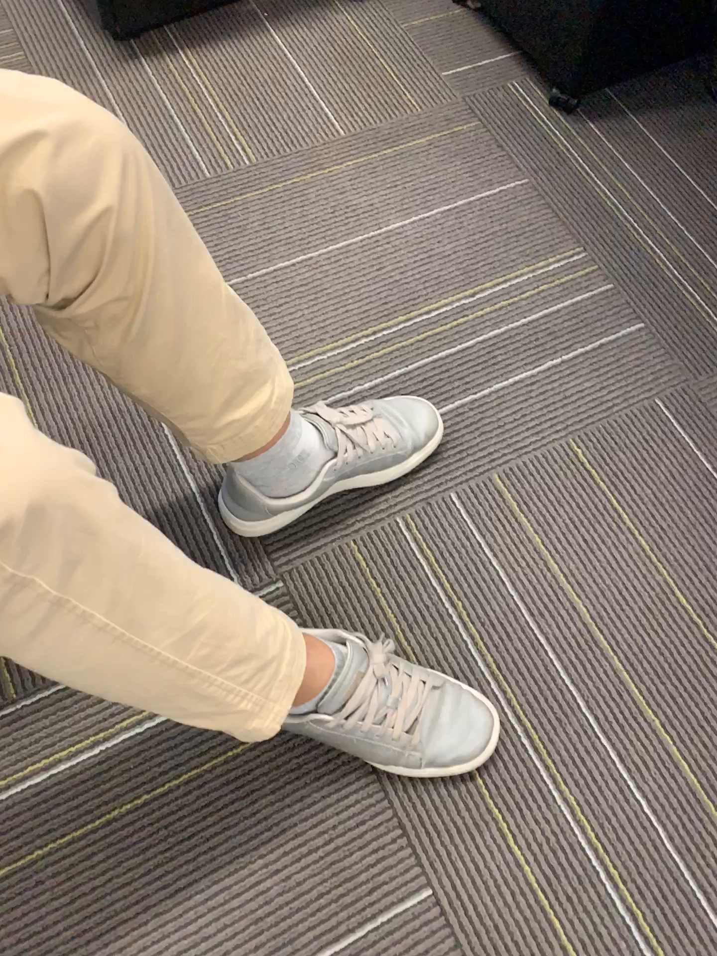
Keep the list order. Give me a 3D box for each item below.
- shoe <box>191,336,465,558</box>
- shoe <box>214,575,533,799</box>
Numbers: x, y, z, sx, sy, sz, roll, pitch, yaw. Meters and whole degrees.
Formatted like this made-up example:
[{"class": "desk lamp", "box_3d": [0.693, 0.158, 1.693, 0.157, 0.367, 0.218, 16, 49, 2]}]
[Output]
[{"class": "shoe", "box_3d": [-0.034, -0.038, 0.859, 0.280, 0.110, 0.120, -26, 68, -15]}, {"class": "shoe", "box_3d": [0.013, 0.213, 0.732, 0.270, 0.140, 0.120, 16, 64, 4]}]
